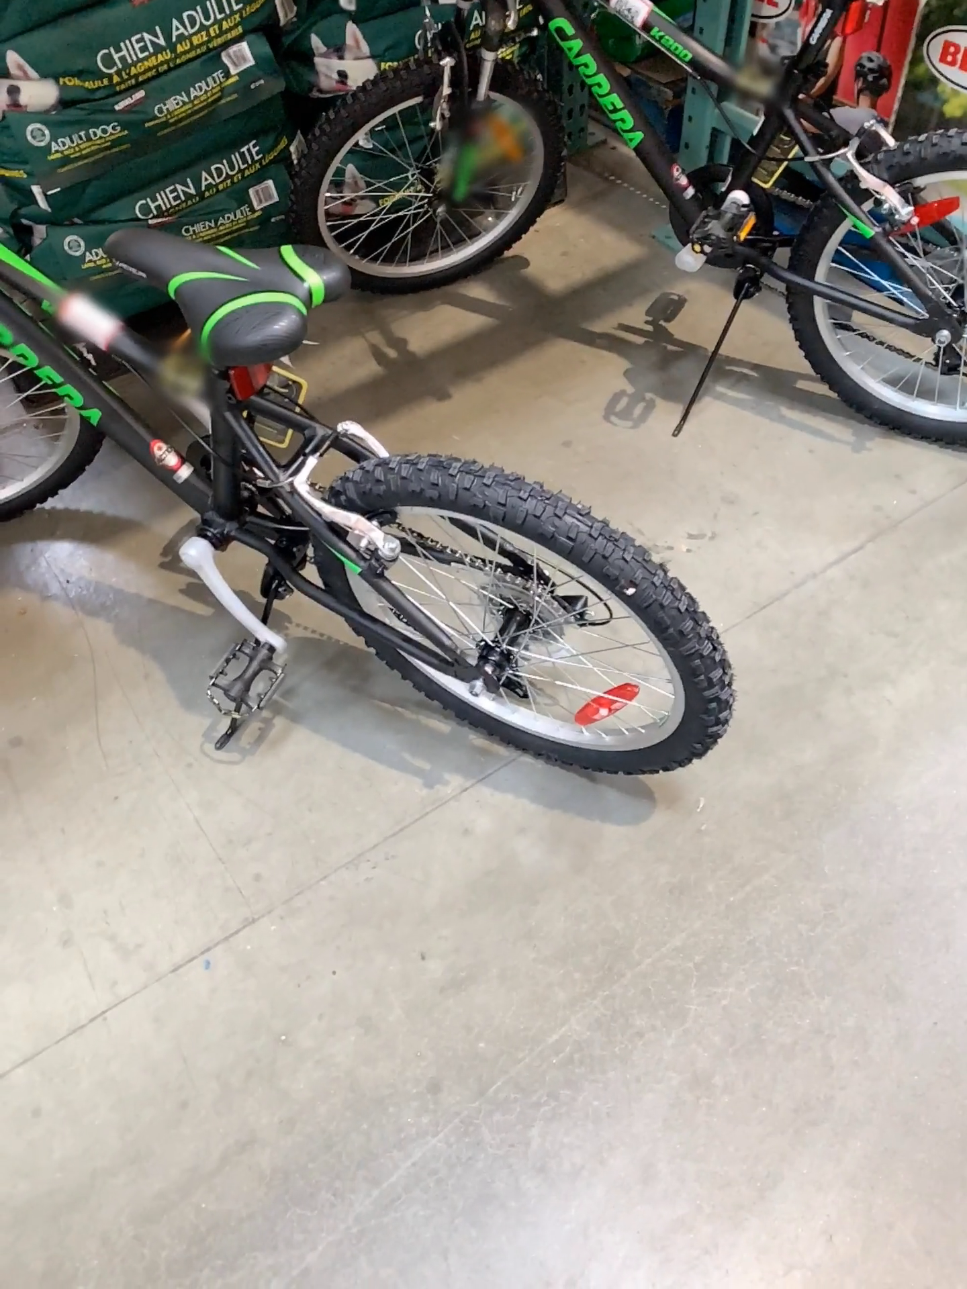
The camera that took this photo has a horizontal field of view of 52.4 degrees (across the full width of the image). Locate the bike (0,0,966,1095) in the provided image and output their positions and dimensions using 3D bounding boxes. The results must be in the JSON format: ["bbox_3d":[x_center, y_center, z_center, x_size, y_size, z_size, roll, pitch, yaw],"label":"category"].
[{"bbox_3d":[-0.369,-0.187,0.991,1.305,0.856,0.710,14,54,12],"label":"bike"}]
